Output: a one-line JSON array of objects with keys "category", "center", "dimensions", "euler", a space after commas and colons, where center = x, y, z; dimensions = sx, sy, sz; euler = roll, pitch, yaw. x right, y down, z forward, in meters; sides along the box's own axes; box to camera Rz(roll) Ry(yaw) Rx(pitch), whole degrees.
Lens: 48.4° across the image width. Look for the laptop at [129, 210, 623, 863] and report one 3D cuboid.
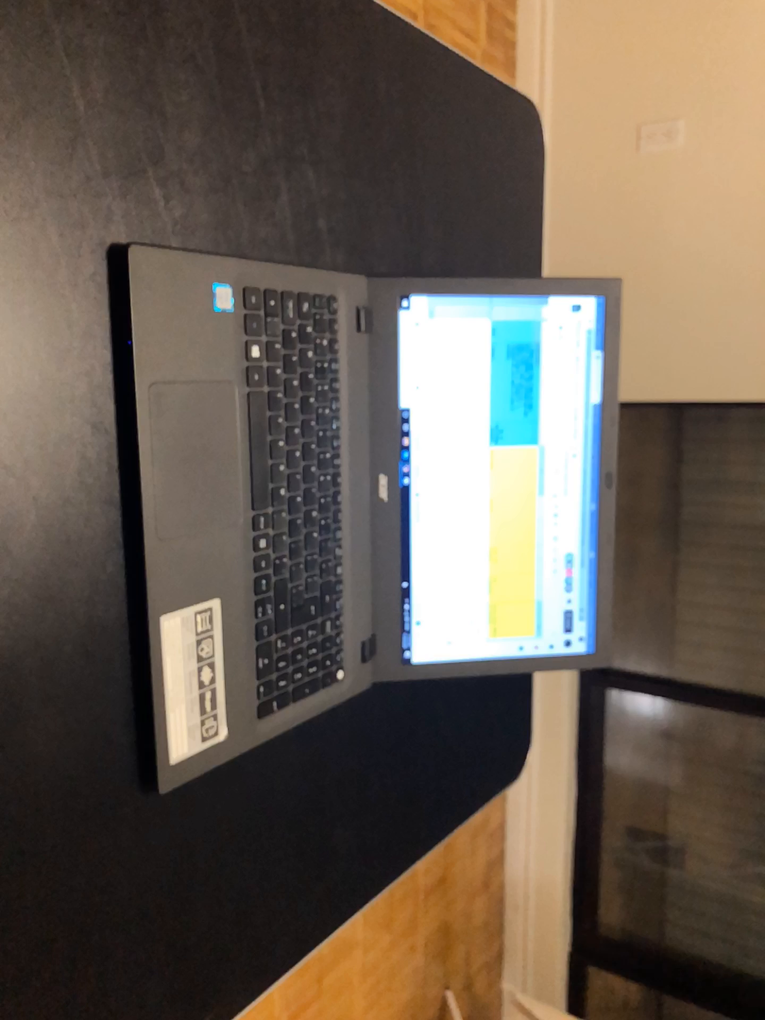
[{"category": "laptop", "center": [0.037, -0.006, 0.698], "dimensions": [0.432, 0.161, 0.374], "euler": [-13, 105, -53]}]
